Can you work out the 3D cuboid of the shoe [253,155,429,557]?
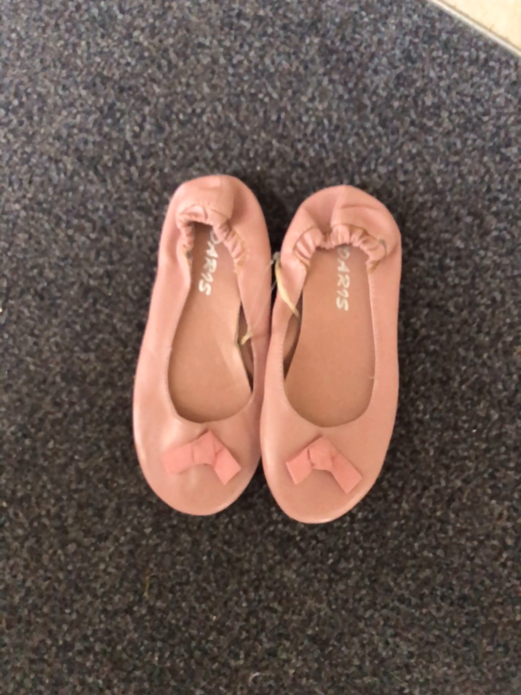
[{"bbox_3d":[0.047,0.005,0.390,0.090,0.100,0.230,4,88,-1],"label":"shoe"}]

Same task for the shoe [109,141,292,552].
[{"bbox_3d":[-0.034,0.000,0.382,0.090,0.100,0.230,4,88,-1],"label":"shoe"}]
